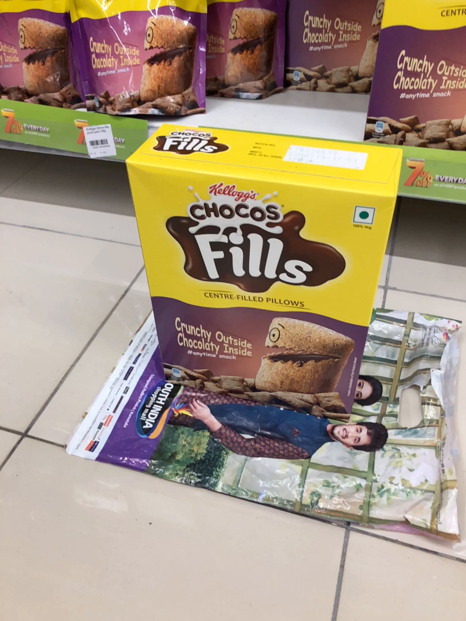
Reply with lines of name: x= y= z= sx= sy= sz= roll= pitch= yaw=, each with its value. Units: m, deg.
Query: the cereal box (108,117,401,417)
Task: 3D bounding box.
cereal box: x=0.020 y=-0.028 z=0.431 sx=0.190 sy=0.228 sz=0.070 roll=10 pitch=44 yaw=13
